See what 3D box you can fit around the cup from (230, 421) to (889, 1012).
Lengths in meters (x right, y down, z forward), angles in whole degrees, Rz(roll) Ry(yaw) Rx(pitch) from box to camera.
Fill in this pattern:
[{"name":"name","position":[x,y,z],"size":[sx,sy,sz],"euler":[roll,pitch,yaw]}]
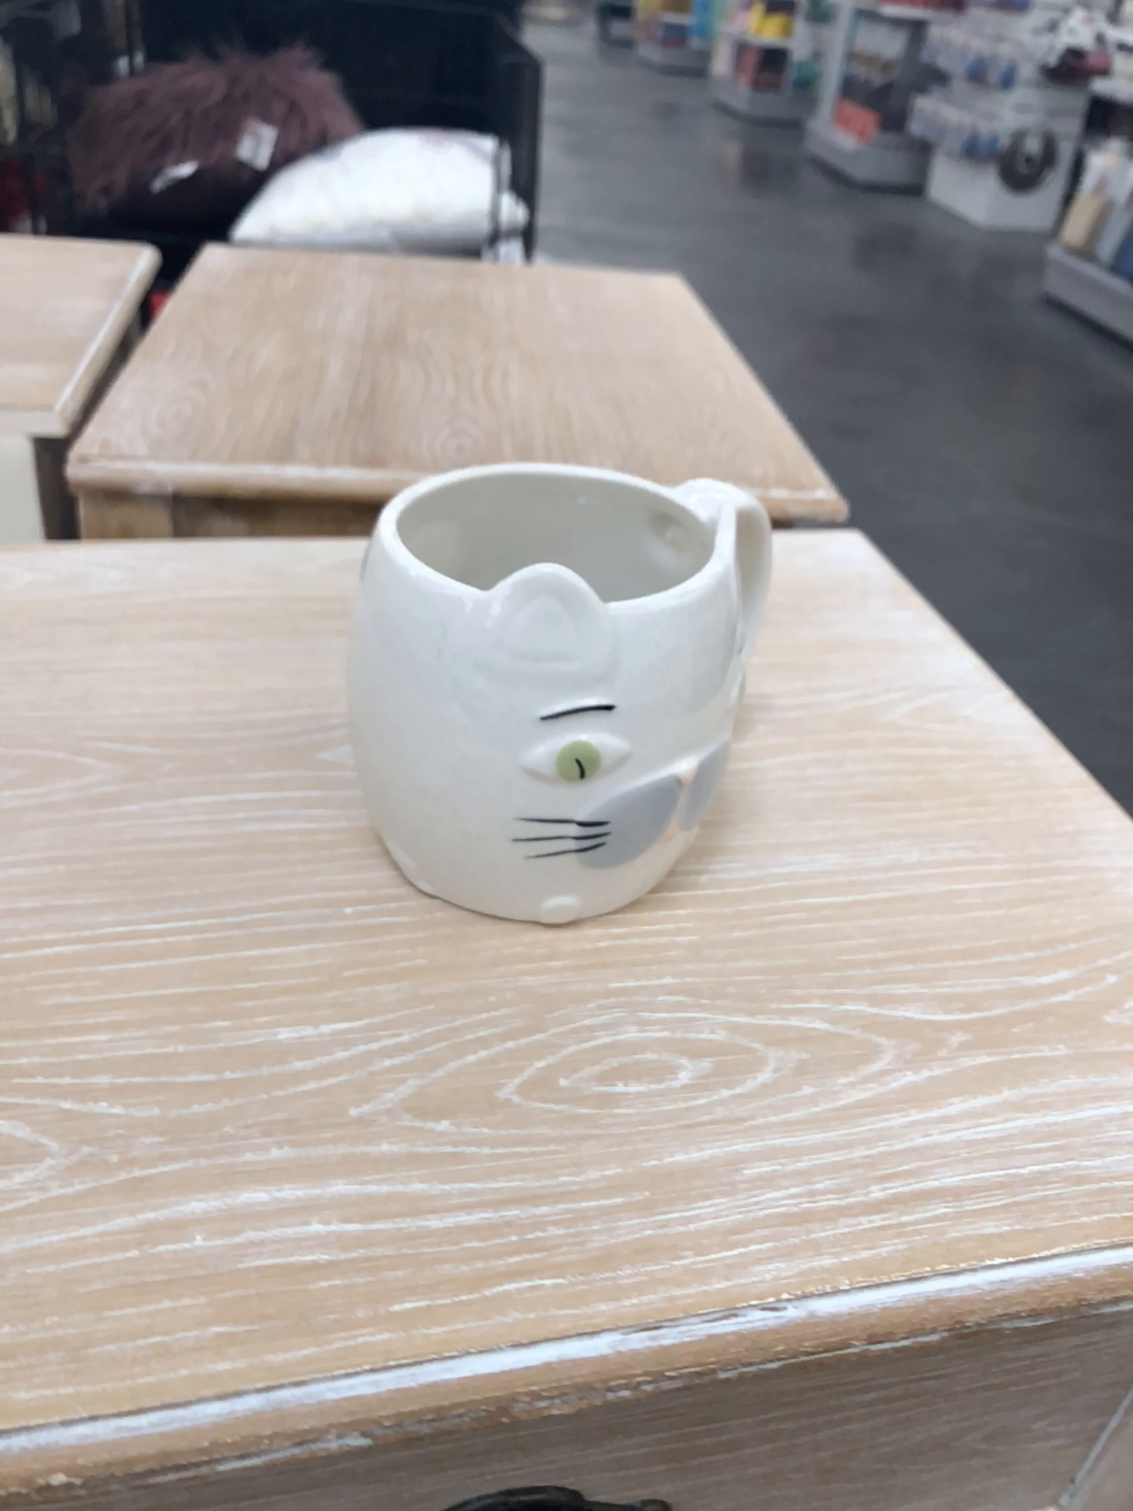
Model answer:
[{"name":"cup","position":[-0.002,-0.019,0.310],"size":[0.092,0.073,0.125],"euler":[34,41,28]}]
